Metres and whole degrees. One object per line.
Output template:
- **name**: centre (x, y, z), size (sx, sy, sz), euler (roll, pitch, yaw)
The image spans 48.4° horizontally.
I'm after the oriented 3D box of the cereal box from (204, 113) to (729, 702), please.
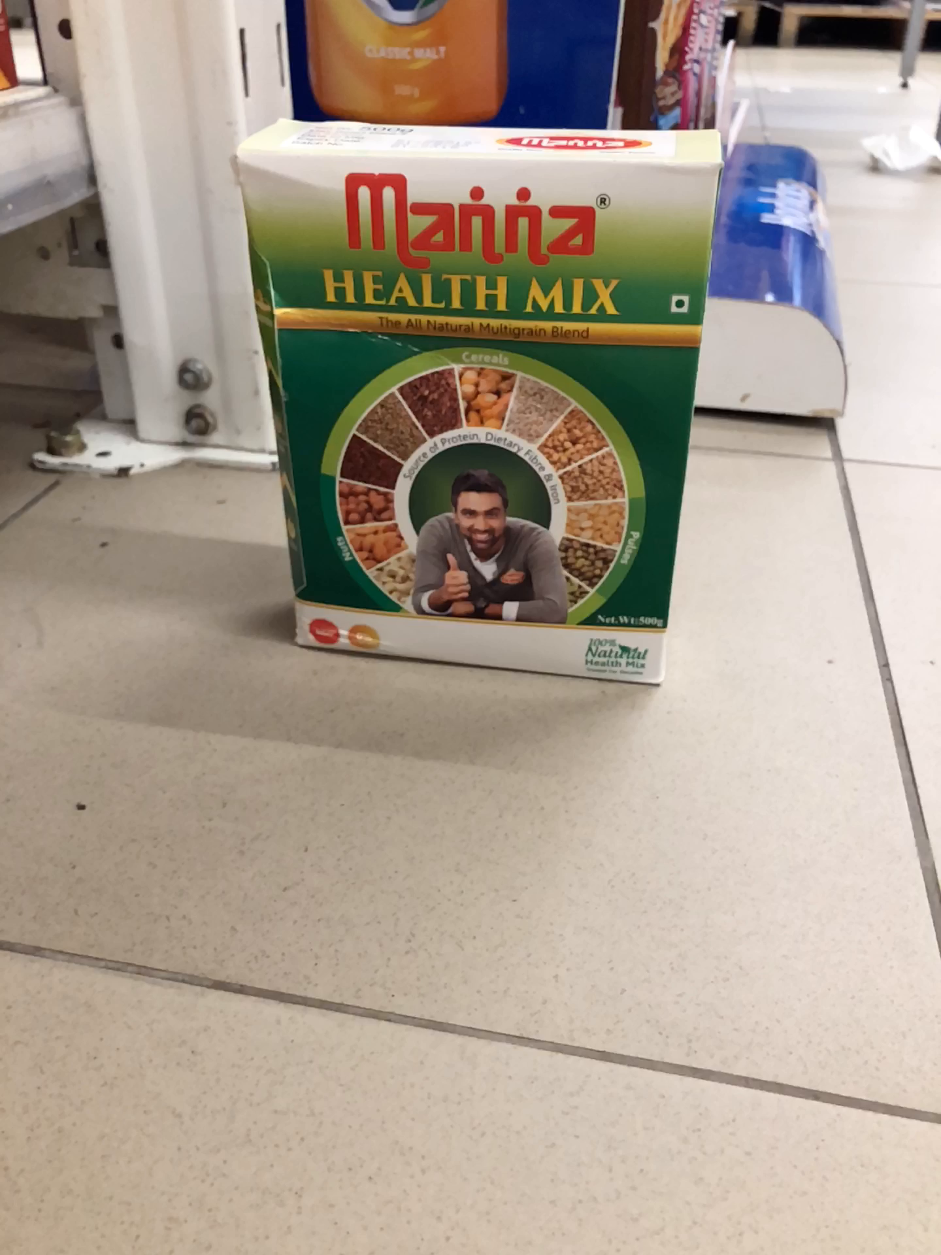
- **cereal box**: centre (-0.001, -0.071, 0.368), size (0.150, 0.189, 0.050), euler (4, 32, 6)
